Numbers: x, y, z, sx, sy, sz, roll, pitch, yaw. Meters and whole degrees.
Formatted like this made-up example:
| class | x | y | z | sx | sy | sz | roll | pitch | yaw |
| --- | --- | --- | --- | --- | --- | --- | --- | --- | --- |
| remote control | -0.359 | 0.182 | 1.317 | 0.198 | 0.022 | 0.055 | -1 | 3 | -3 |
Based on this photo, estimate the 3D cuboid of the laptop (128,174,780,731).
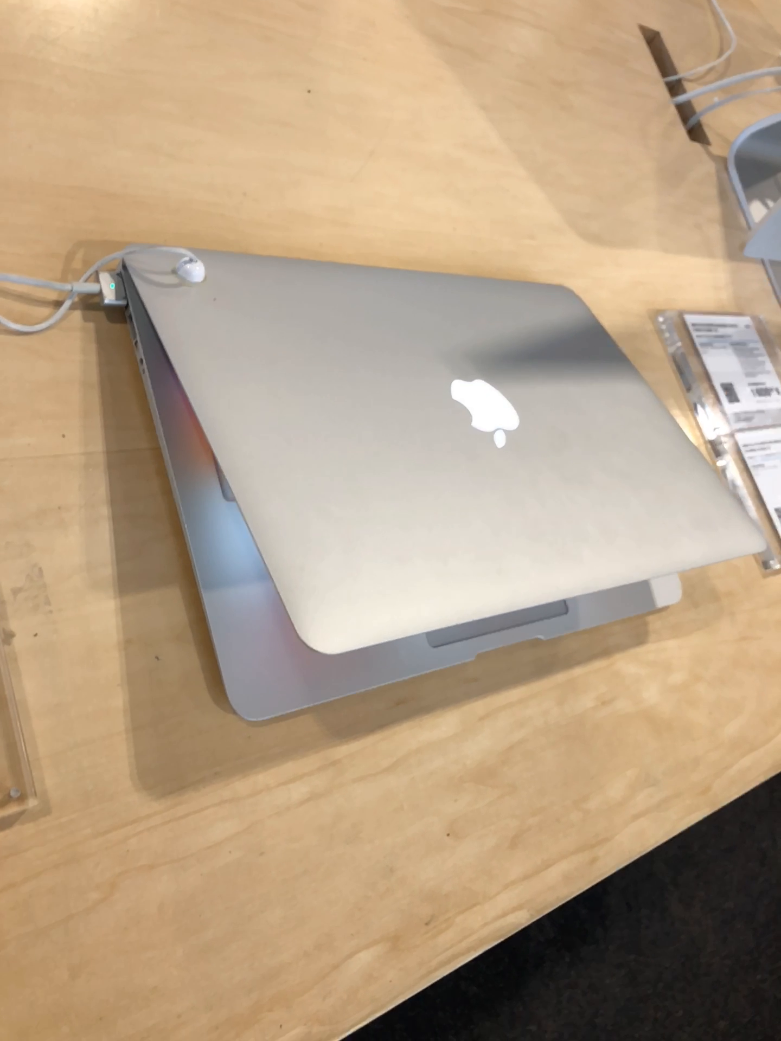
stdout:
| class | x | y | z | sx | sy | sz | roll | pitch | yaw |
| --- | --- | --- | --- | --- | --- | --- | --- | --- | --- |
| laptop | 0.056 | -0.042 | 0.441 | 0.316 | 0.067 | 0.215 | -7 | 73 | -37 |
